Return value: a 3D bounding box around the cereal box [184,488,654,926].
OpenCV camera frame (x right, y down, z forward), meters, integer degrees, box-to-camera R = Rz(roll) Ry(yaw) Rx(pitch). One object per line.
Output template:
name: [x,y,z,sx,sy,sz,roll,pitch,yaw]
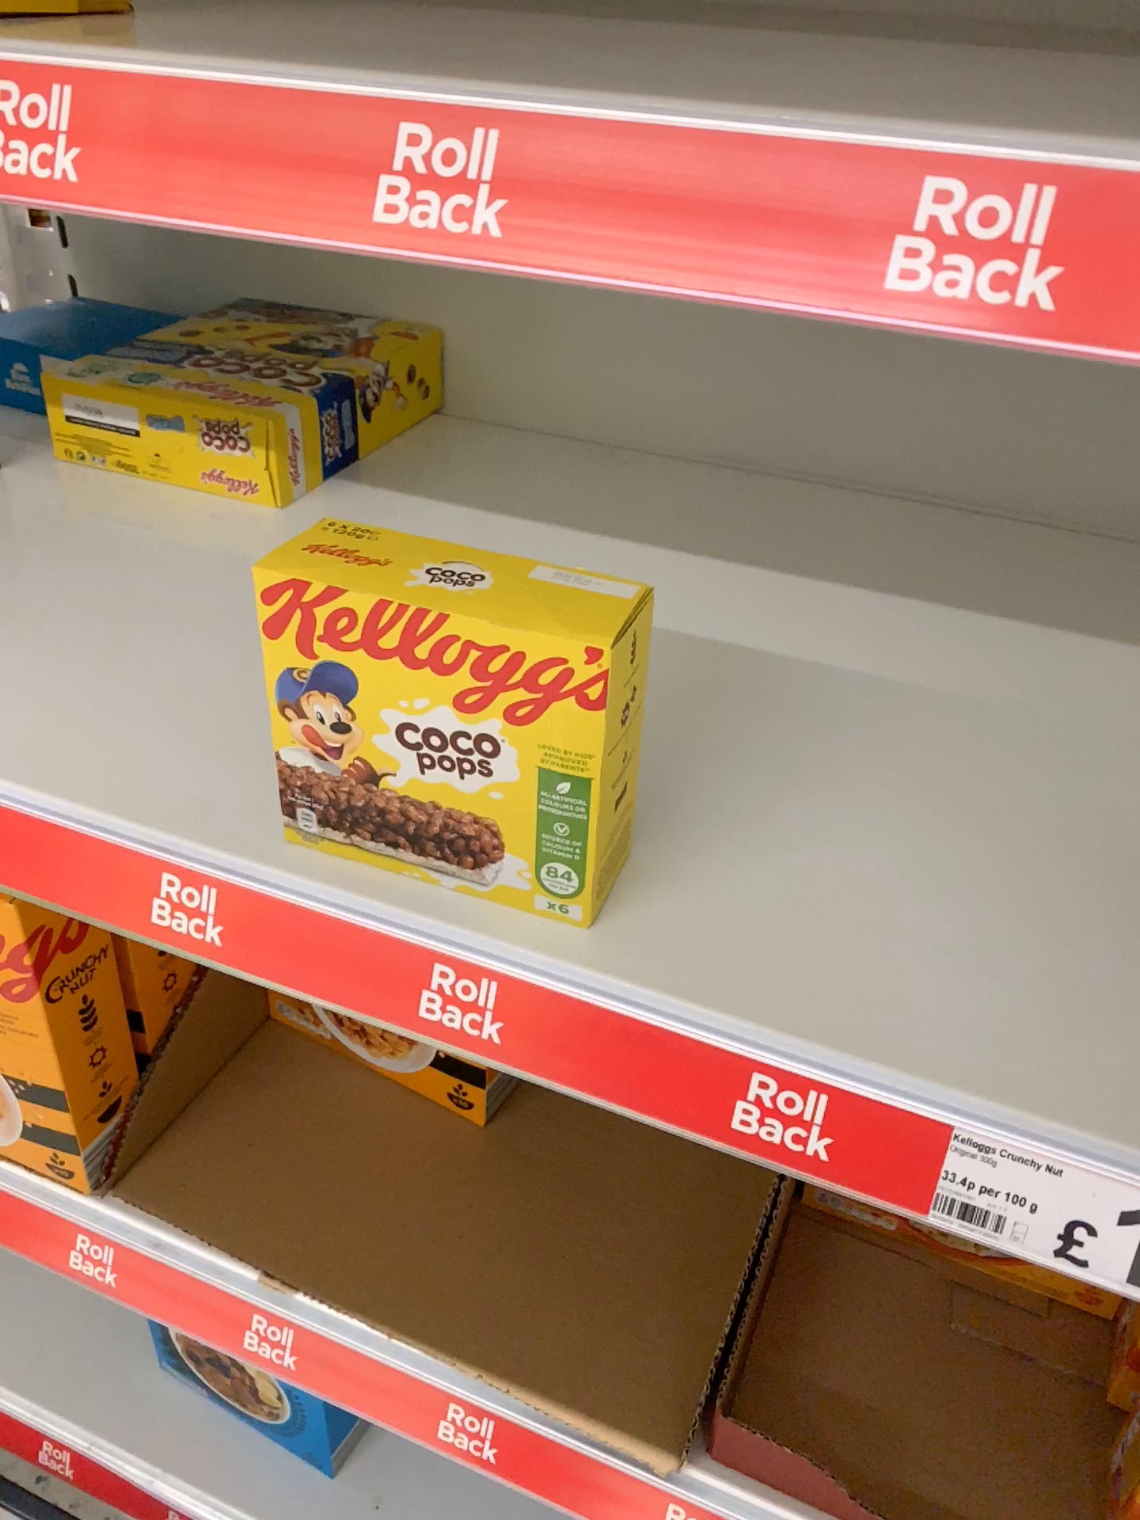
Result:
cereal box: [-0.054,-0.022,0.438,0.150,0.119,0.061,14,36,16]
